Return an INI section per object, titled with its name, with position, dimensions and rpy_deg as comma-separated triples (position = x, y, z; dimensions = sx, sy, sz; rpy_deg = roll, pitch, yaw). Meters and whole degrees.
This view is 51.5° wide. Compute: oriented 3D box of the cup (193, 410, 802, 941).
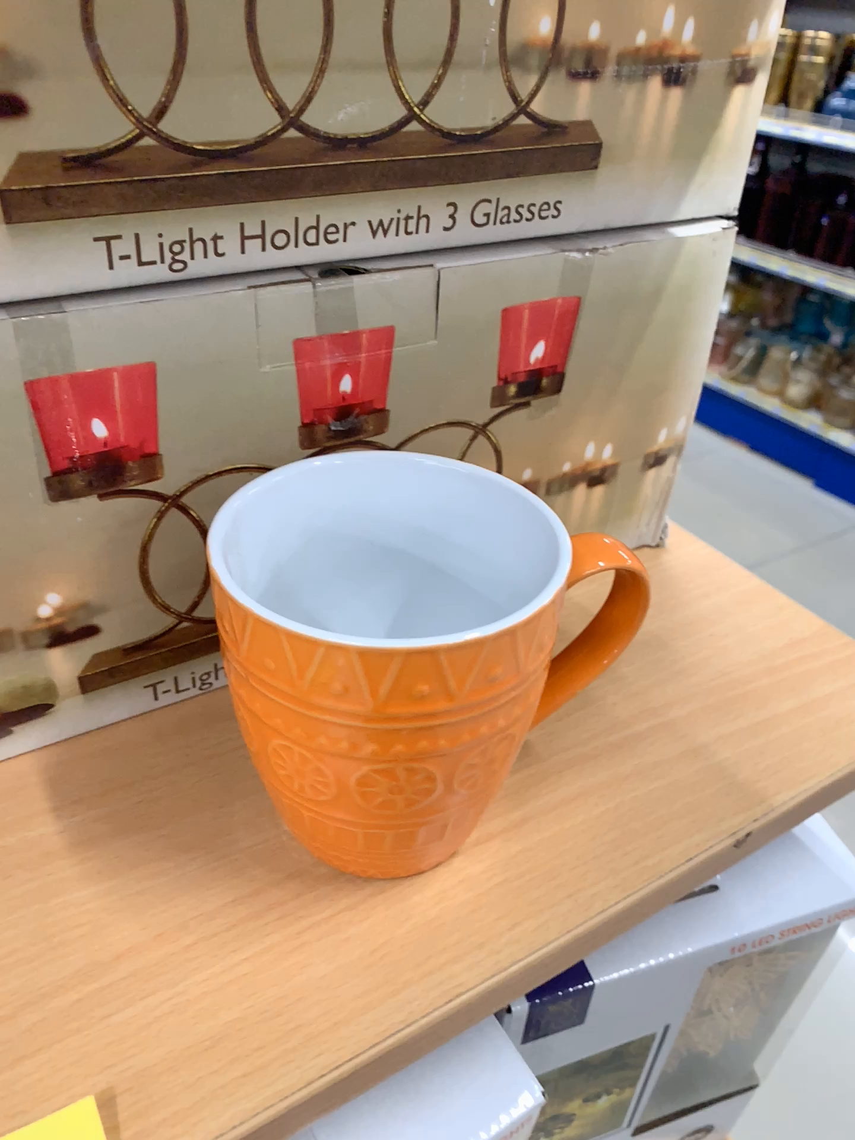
[cup]
position = 0.012, 0.018, 0.230
dimensions = 0.120, 0.080, 0.080
rpy_deg = -11, 36, -23
